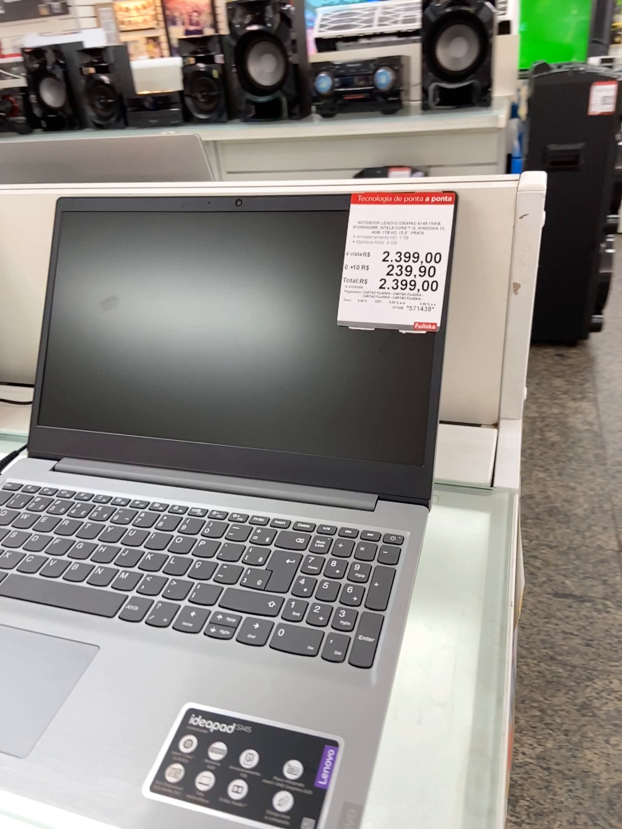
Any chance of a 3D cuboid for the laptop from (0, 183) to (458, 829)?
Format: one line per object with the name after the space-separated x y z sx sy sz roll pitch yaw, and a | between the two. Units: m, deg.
-0.112 -0.001 0.437 0.369 0.192 0.404 5 34 17 | laptop
